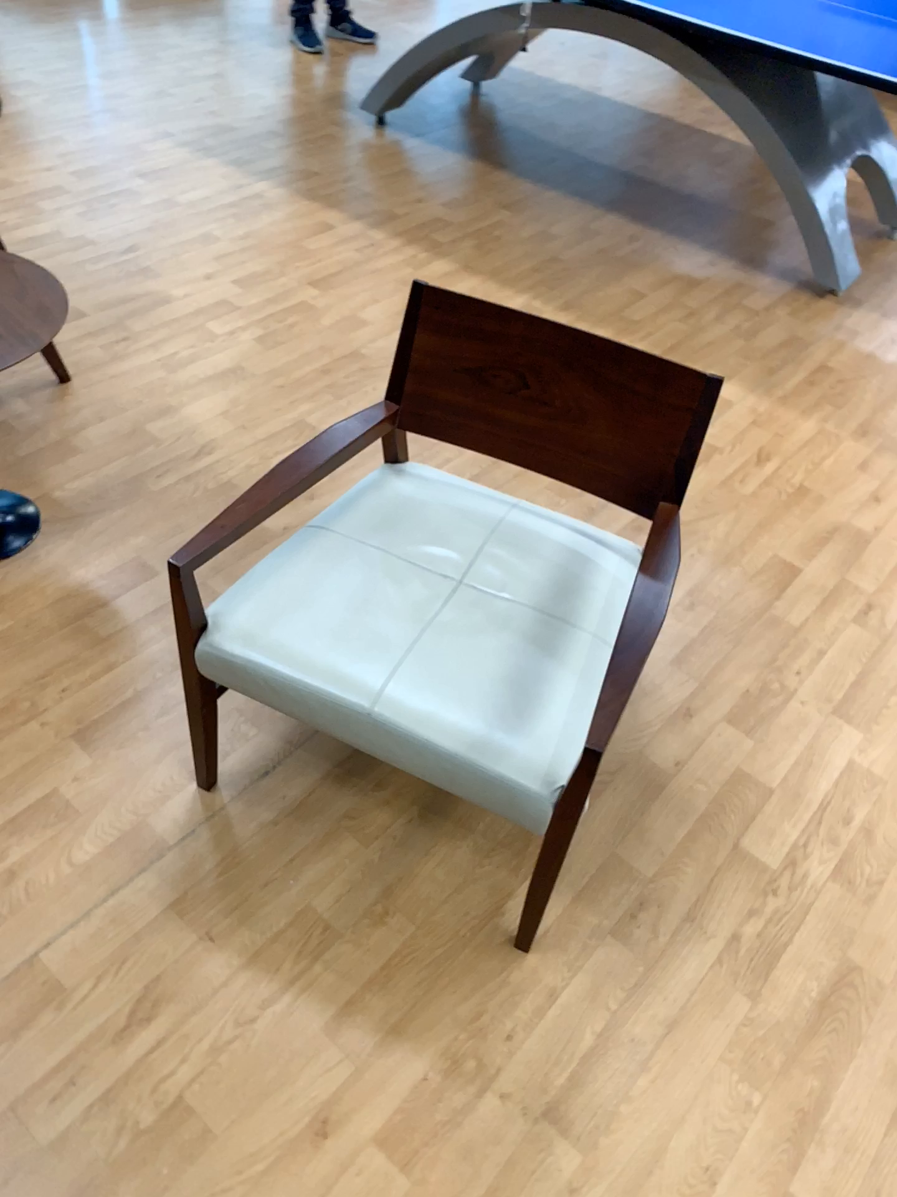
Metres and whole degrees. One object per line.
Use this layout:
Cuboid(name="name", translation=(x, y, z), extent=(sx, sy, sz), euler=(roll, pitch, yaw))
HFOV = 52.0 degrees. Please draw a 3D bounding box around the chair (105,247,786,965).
Cuboid(name="chair", translation=(0.023, -0.030, 1.447), extent=(0.671, 0.635, 0.715), euler=(22, 46, 14))
